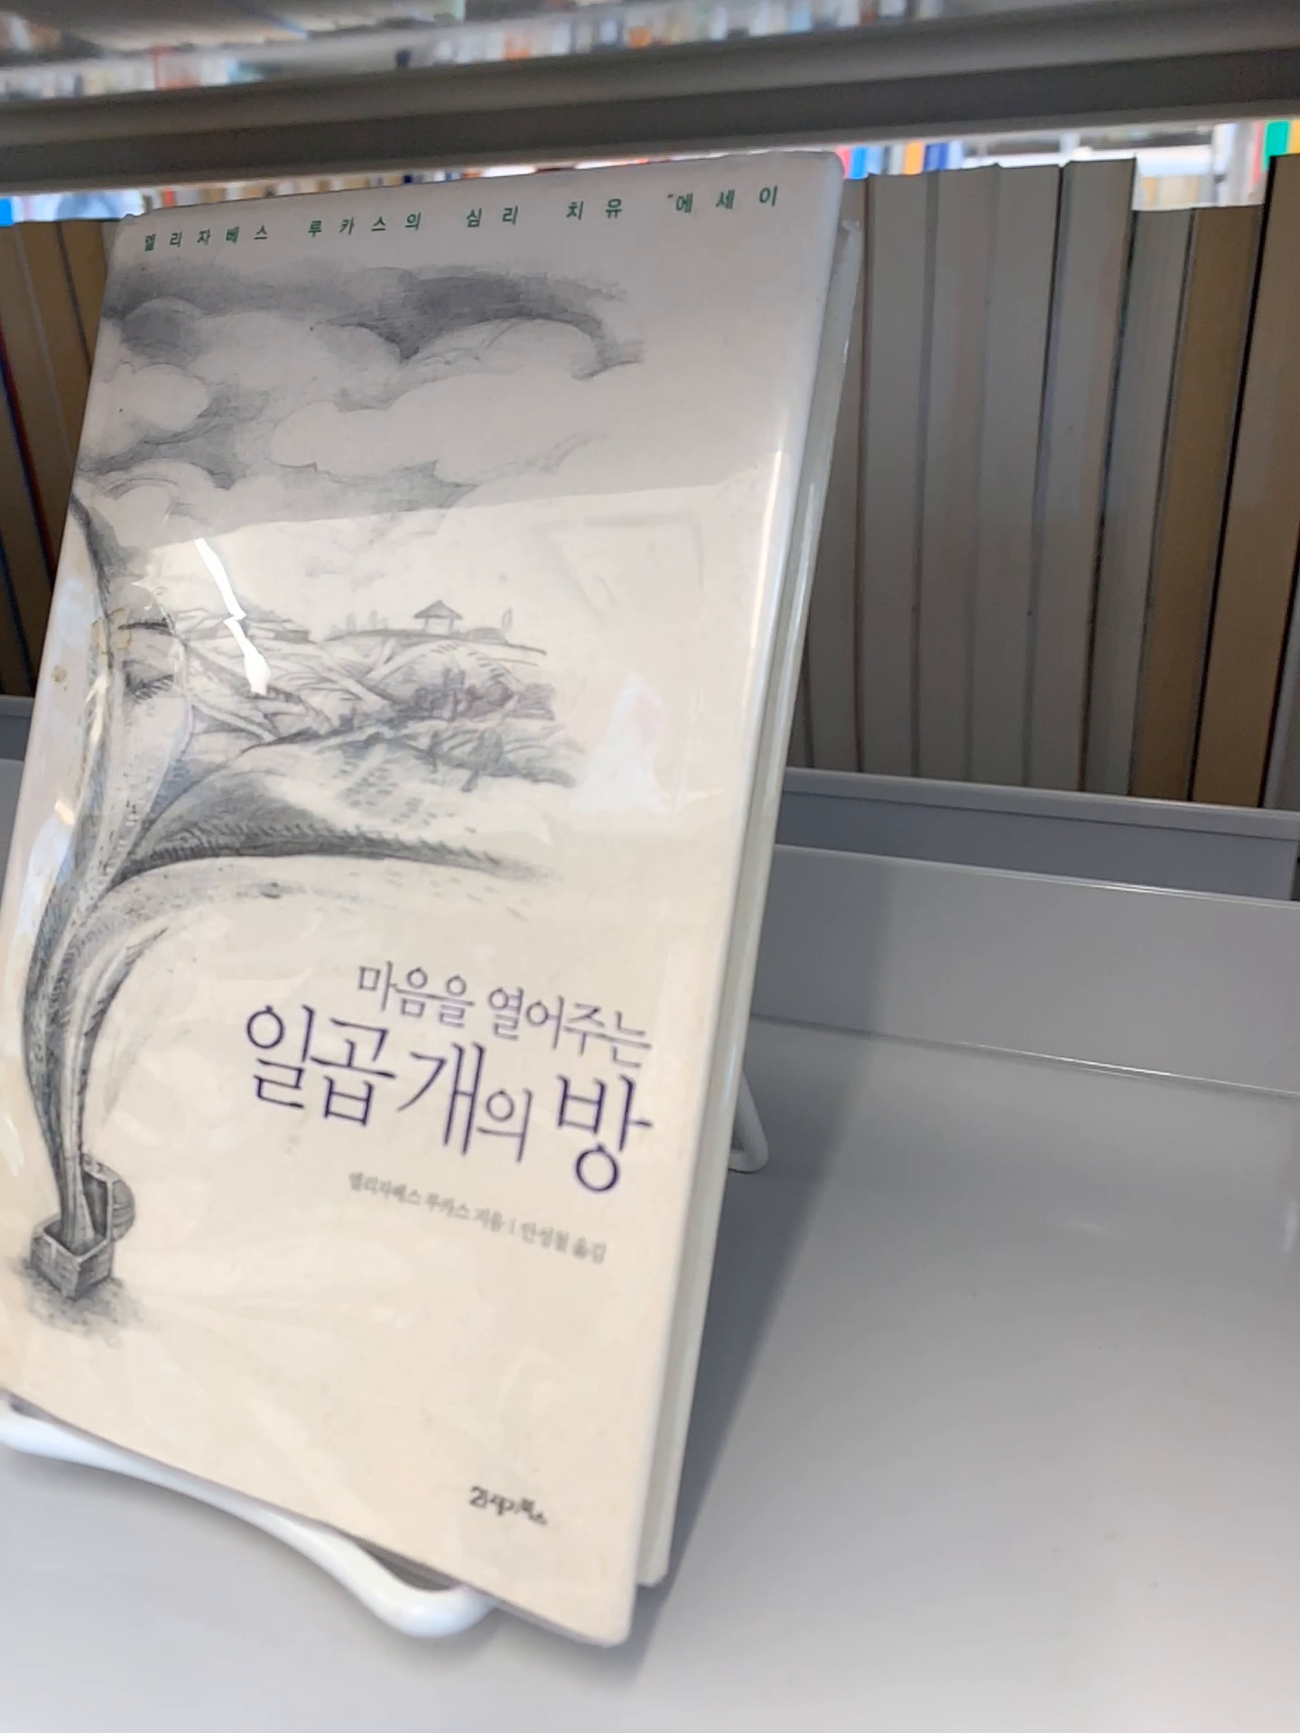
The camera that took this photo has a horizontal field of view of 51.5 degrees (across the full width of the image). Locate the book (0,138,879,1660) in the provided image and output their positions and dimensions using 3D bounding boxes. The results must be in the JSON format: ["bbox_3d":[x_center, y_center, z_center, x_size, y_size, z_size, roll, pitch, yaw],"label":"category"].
[{"bbox_3d":[-0.049,-0.005,0.206,0.137,0.192,0.019,9,1,25],"label":"book"}]
